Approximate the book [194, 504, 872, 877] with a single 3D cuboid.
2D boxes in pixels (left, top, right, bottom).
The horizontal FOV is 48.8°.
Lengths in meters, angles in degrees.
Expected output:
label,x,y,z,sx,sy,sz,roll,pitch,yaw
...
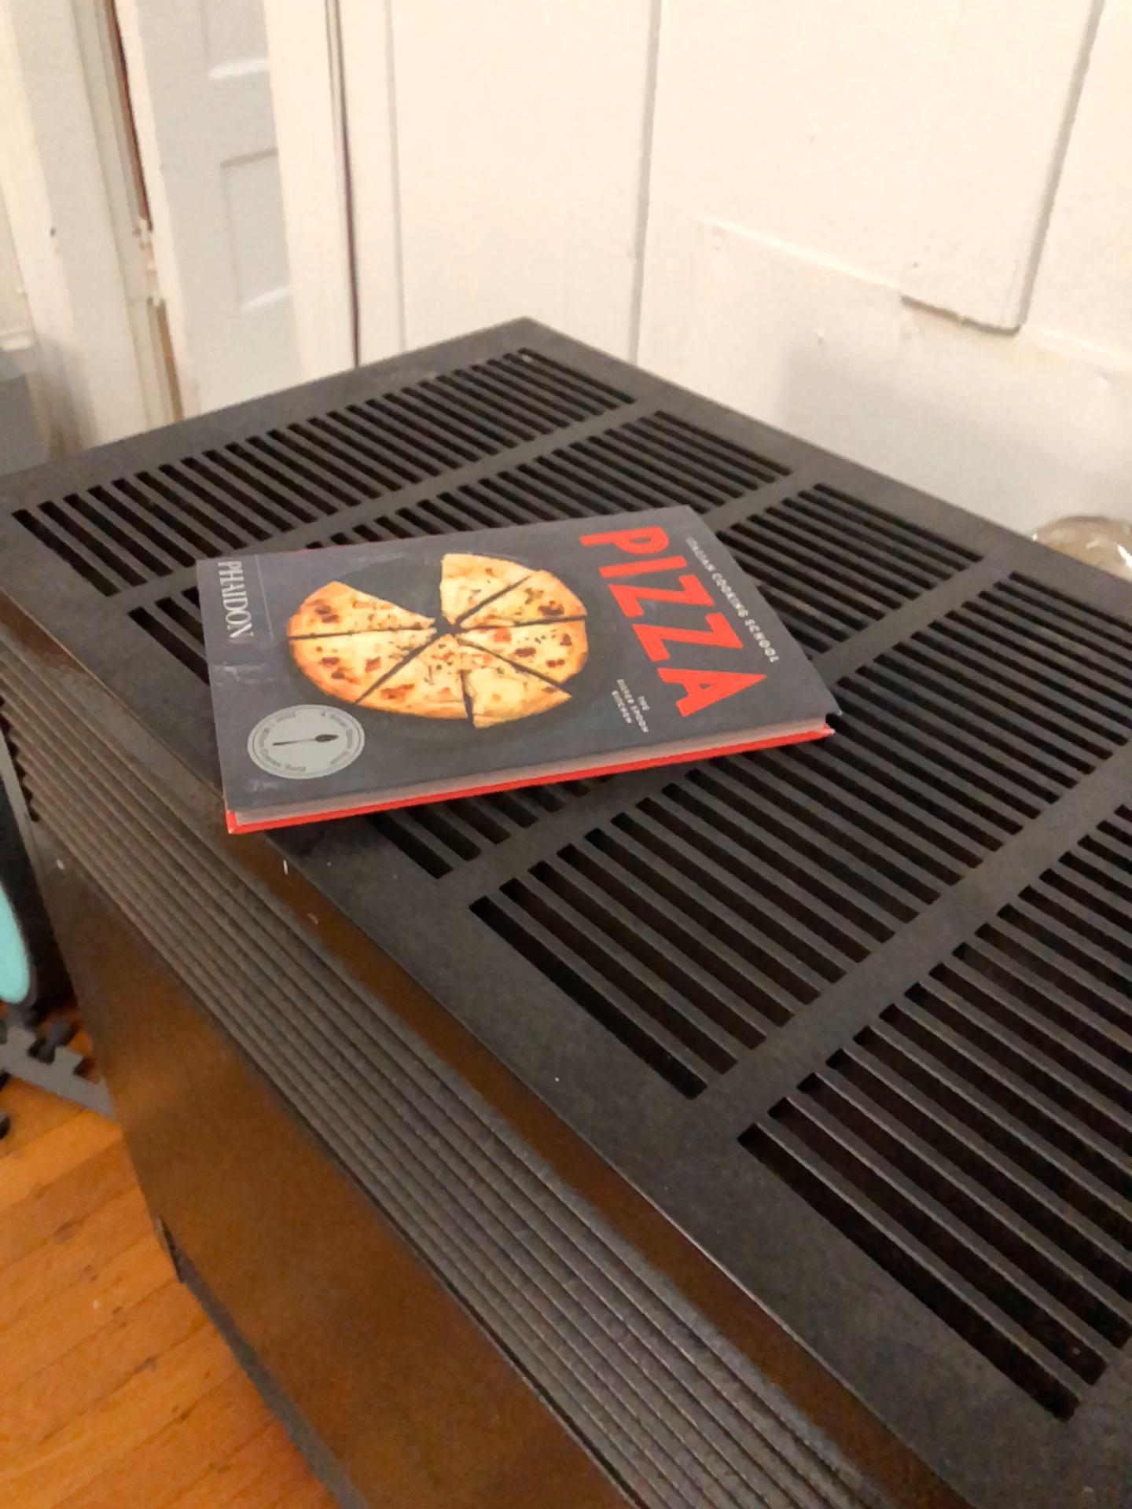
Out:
label,x,y,z,sx,sy,sz,roll,pitch,yaw
book,-0.024,-0.039,0.499,0.230,0.020,0.181,-9,40,-14
